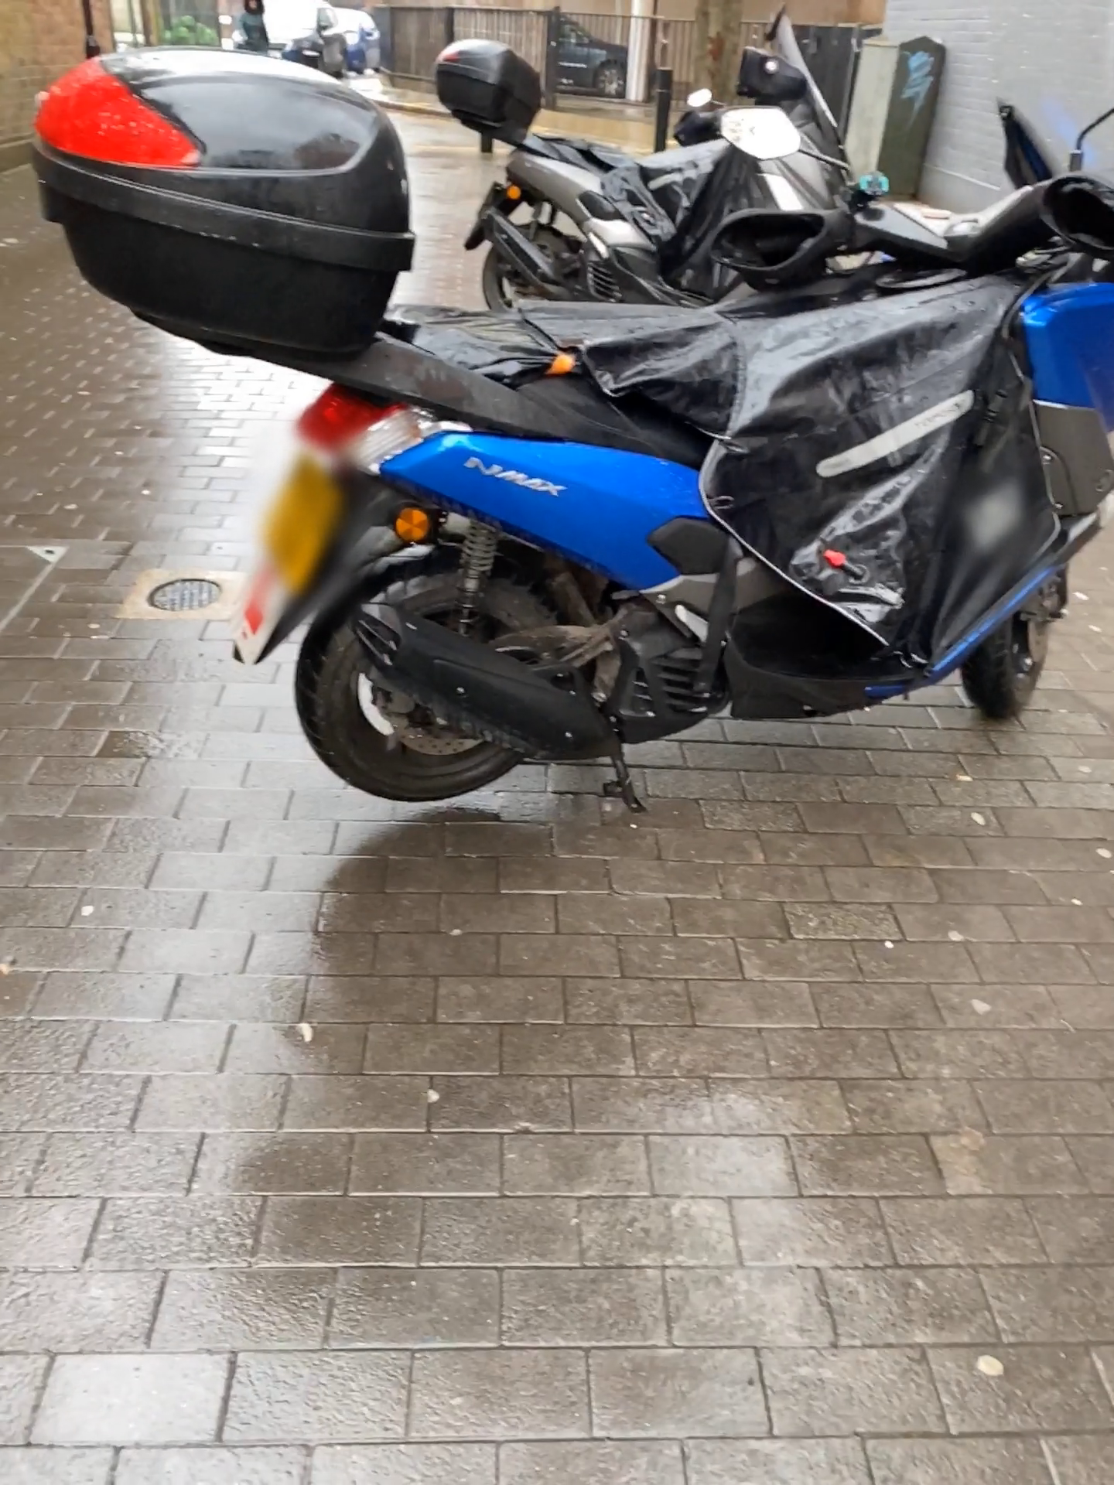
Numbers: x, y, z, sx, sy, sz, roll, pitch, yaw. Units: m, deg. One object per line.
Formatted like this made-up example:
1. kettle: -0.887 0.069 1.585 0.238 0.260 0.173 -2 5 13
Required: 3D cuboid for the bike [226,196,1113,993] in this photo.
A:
1. bike: 0.394 -0.394 2.040 1.734 0.998 0.680 -12 34 -24
